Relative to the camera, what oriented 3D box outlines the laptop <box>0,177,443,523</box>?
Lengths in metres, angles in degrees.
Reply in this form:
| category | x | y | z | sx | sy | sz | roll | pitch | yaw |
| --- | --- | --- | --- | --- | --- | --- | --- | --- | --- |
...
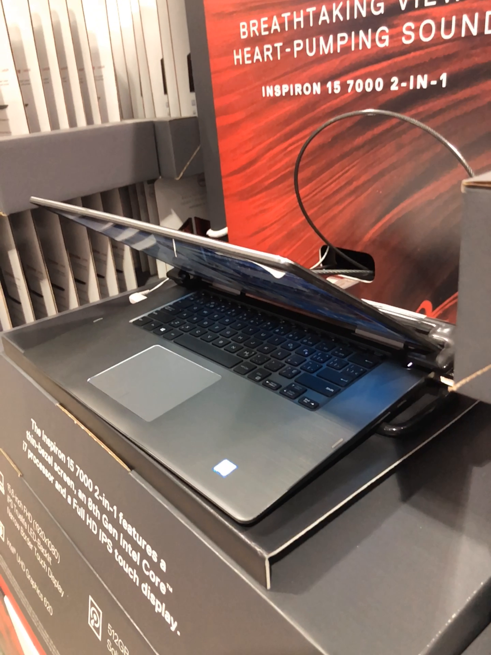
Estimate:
| category | x | y | z | sx | sy | sz | roll | pitch | yaw |
| --- | --- | --- | --- | --- | --- | --- | --- | --- | --- |
| laptop | -0.043 | -0.031 | 0.493 | 0.212 | 0.137 | 0.357 | -26 | 31 | -34 |
